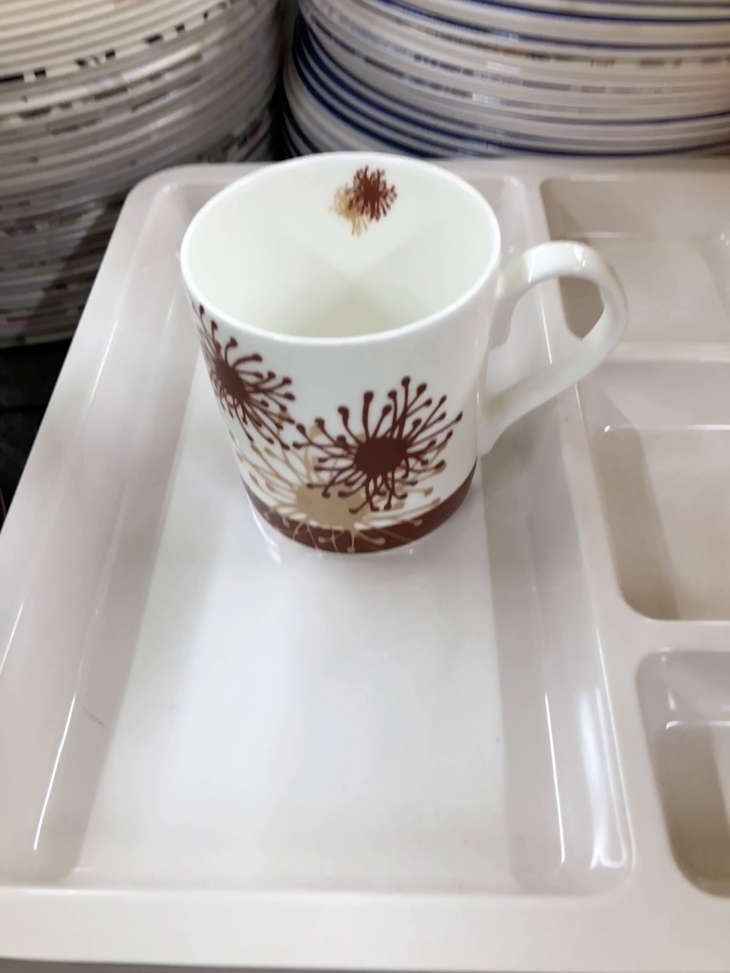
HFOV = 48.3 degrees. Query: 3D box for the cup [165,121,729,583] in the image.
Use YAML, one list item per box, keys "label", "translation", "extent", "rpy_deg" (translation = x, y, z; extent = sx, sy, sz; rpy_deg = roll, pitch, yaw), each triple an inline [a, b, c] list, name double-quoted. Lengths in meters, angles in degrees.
- label: "cup"
  translation: [0.017, -0.035, 0.228]
  extent: [0.120, 0.089, 0.080]
  rpy_deg: [-4, 52, -2]
